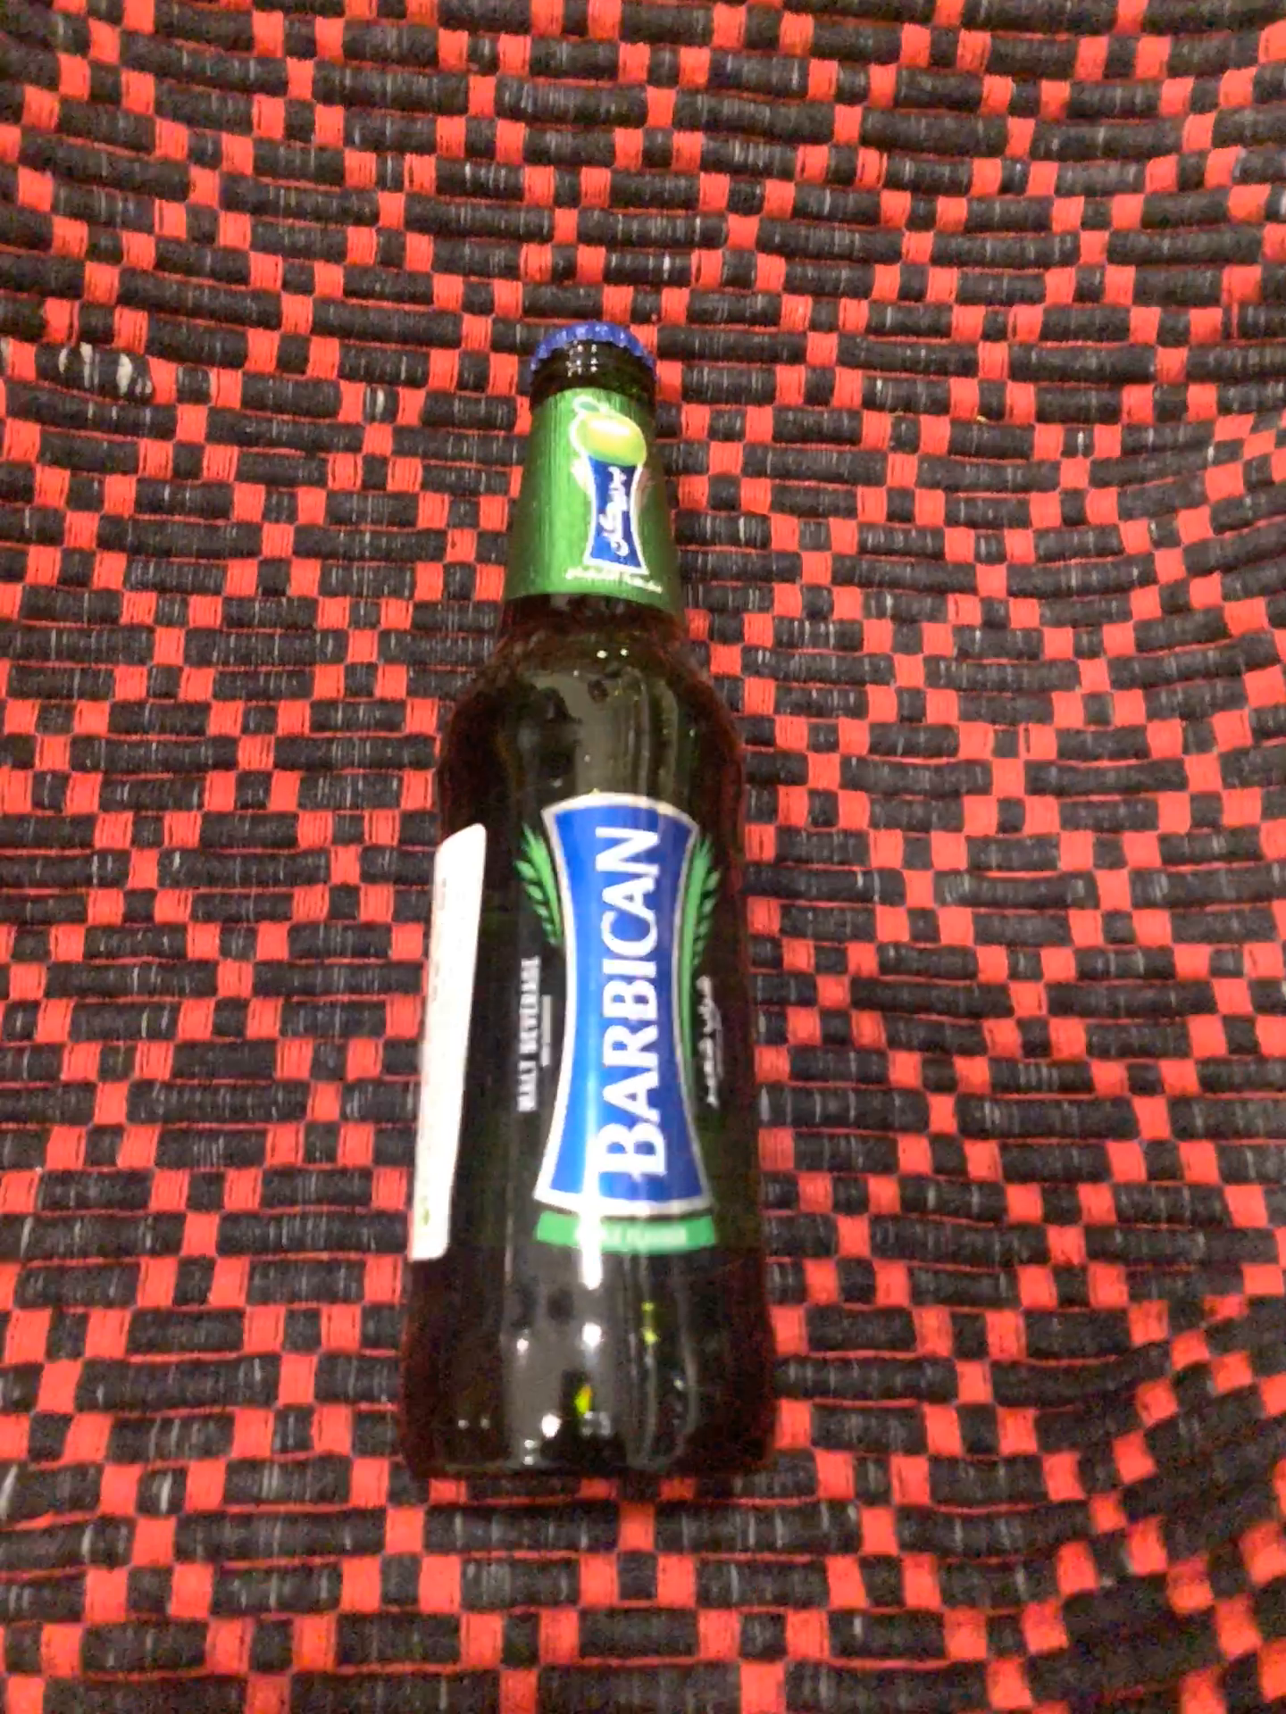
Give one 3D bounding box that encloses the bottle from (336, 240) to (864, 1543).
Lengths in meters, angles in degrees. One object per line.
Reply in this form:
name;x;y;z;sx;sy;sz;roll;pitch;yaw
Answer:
bottle;-0.010;-0.008;0.248;0.070;0.050;0.238;1;65;-5
